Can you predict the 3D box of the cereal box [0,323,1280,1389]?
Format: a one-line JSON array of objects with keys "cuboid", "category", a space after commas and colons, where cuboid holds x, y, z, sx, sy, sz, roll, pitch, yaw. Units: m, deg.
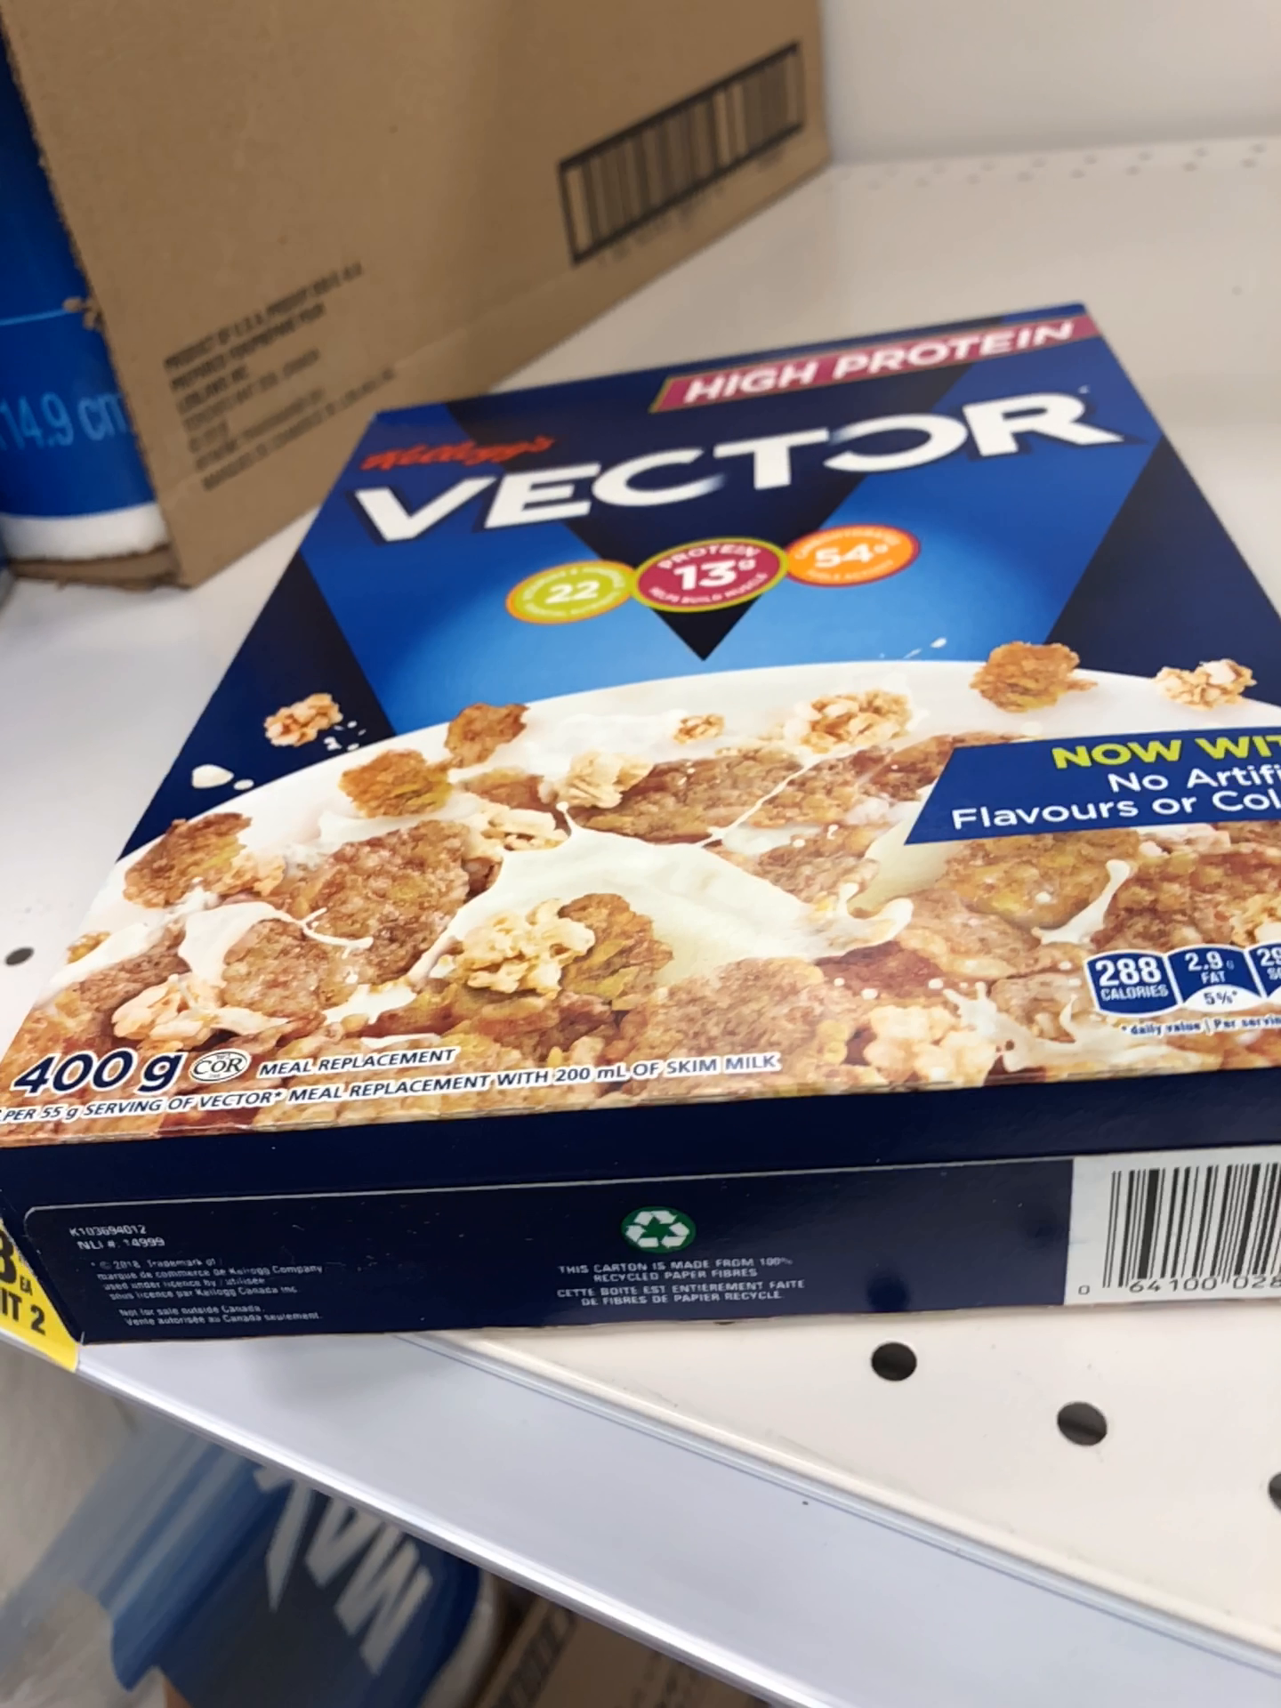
[{"cuboid": [0.016, -0.034, 0.304, 0.210, 0.050, 0.291, -5, 34, 7], "category": "cereal box"}]
